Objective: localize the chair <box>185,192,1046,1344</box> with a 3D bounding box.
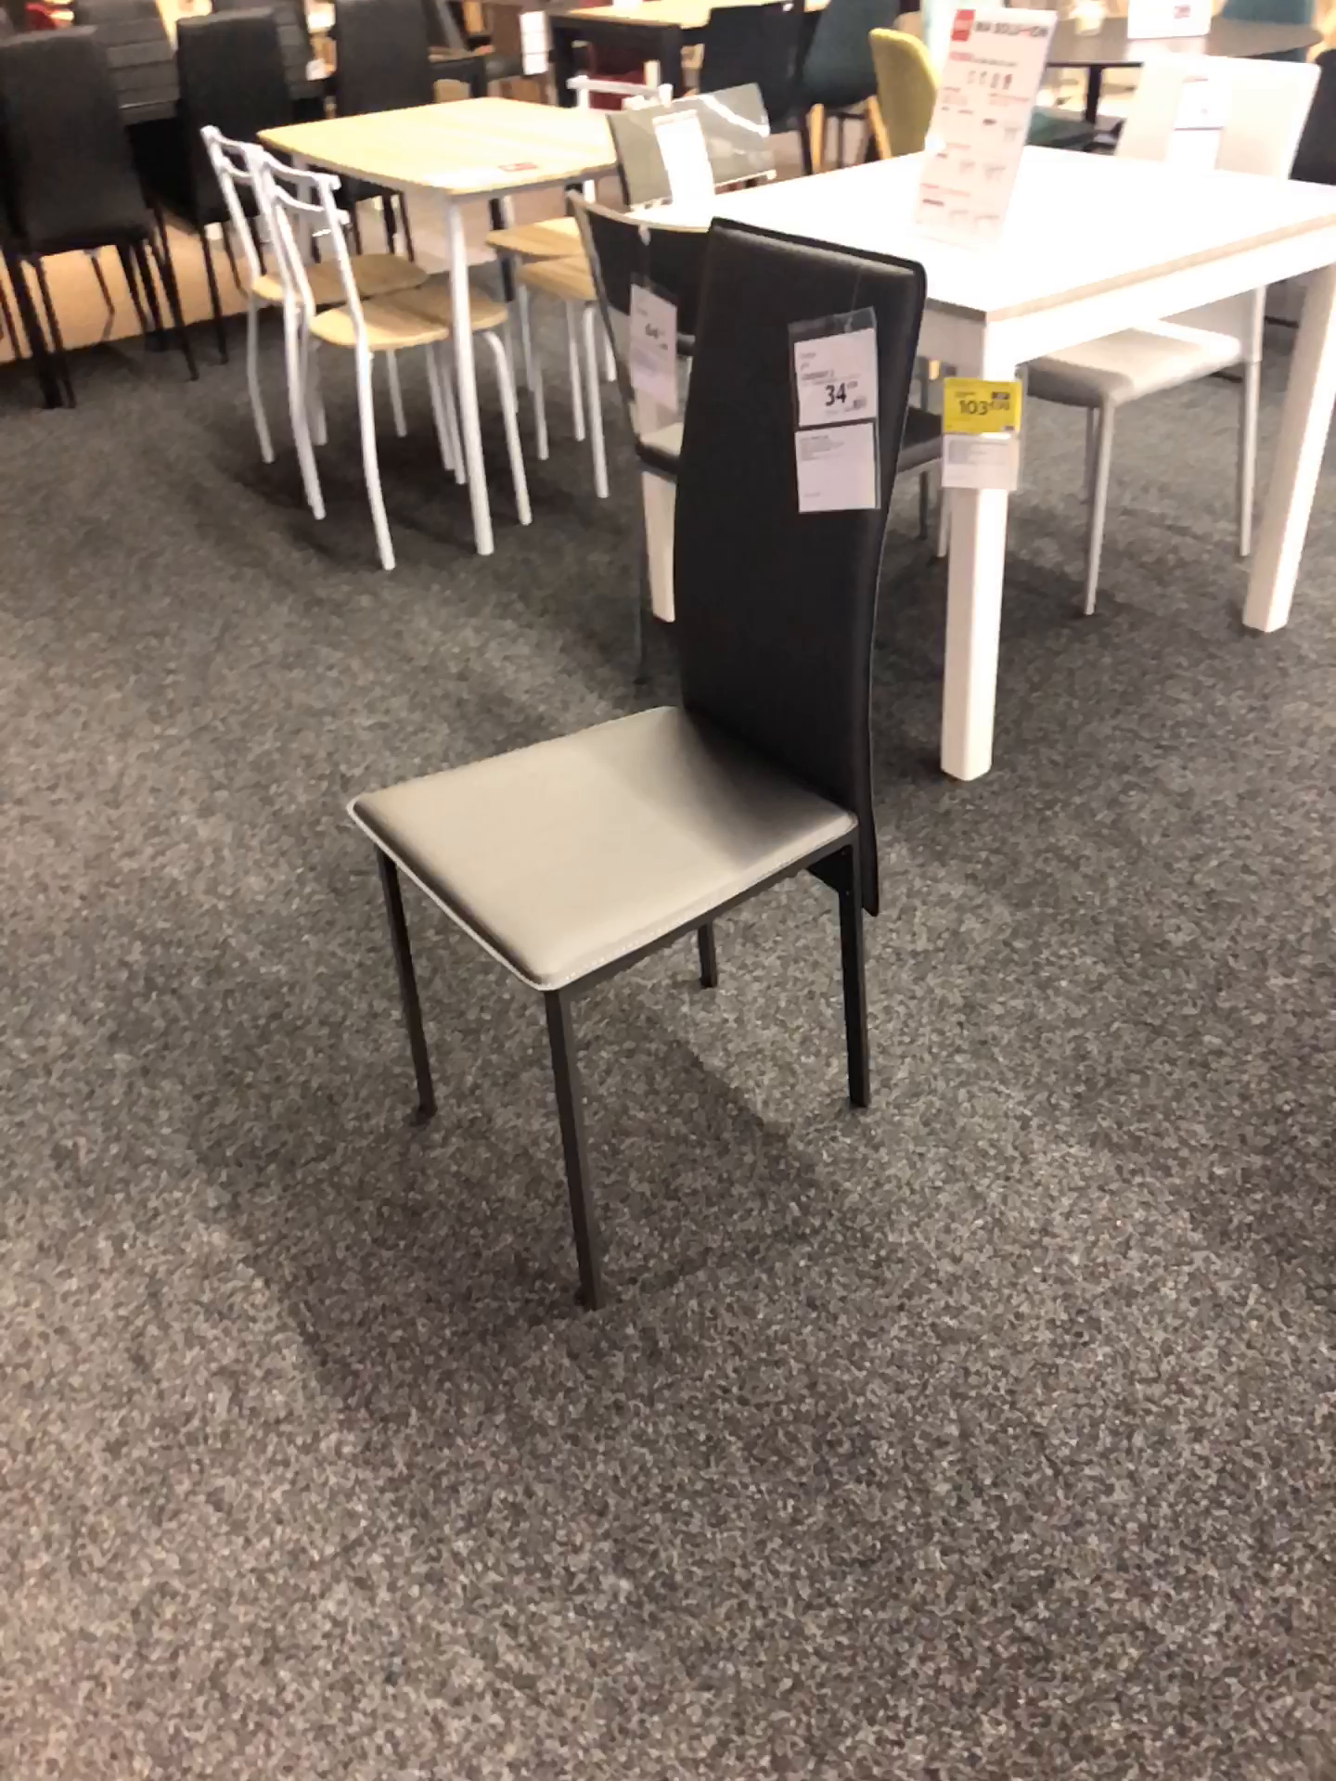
[{"bbox_3d":[-0.028,-0.132,1.496,0.562,0.935,0.471,-24,40,-26],"label":"chair"}]
